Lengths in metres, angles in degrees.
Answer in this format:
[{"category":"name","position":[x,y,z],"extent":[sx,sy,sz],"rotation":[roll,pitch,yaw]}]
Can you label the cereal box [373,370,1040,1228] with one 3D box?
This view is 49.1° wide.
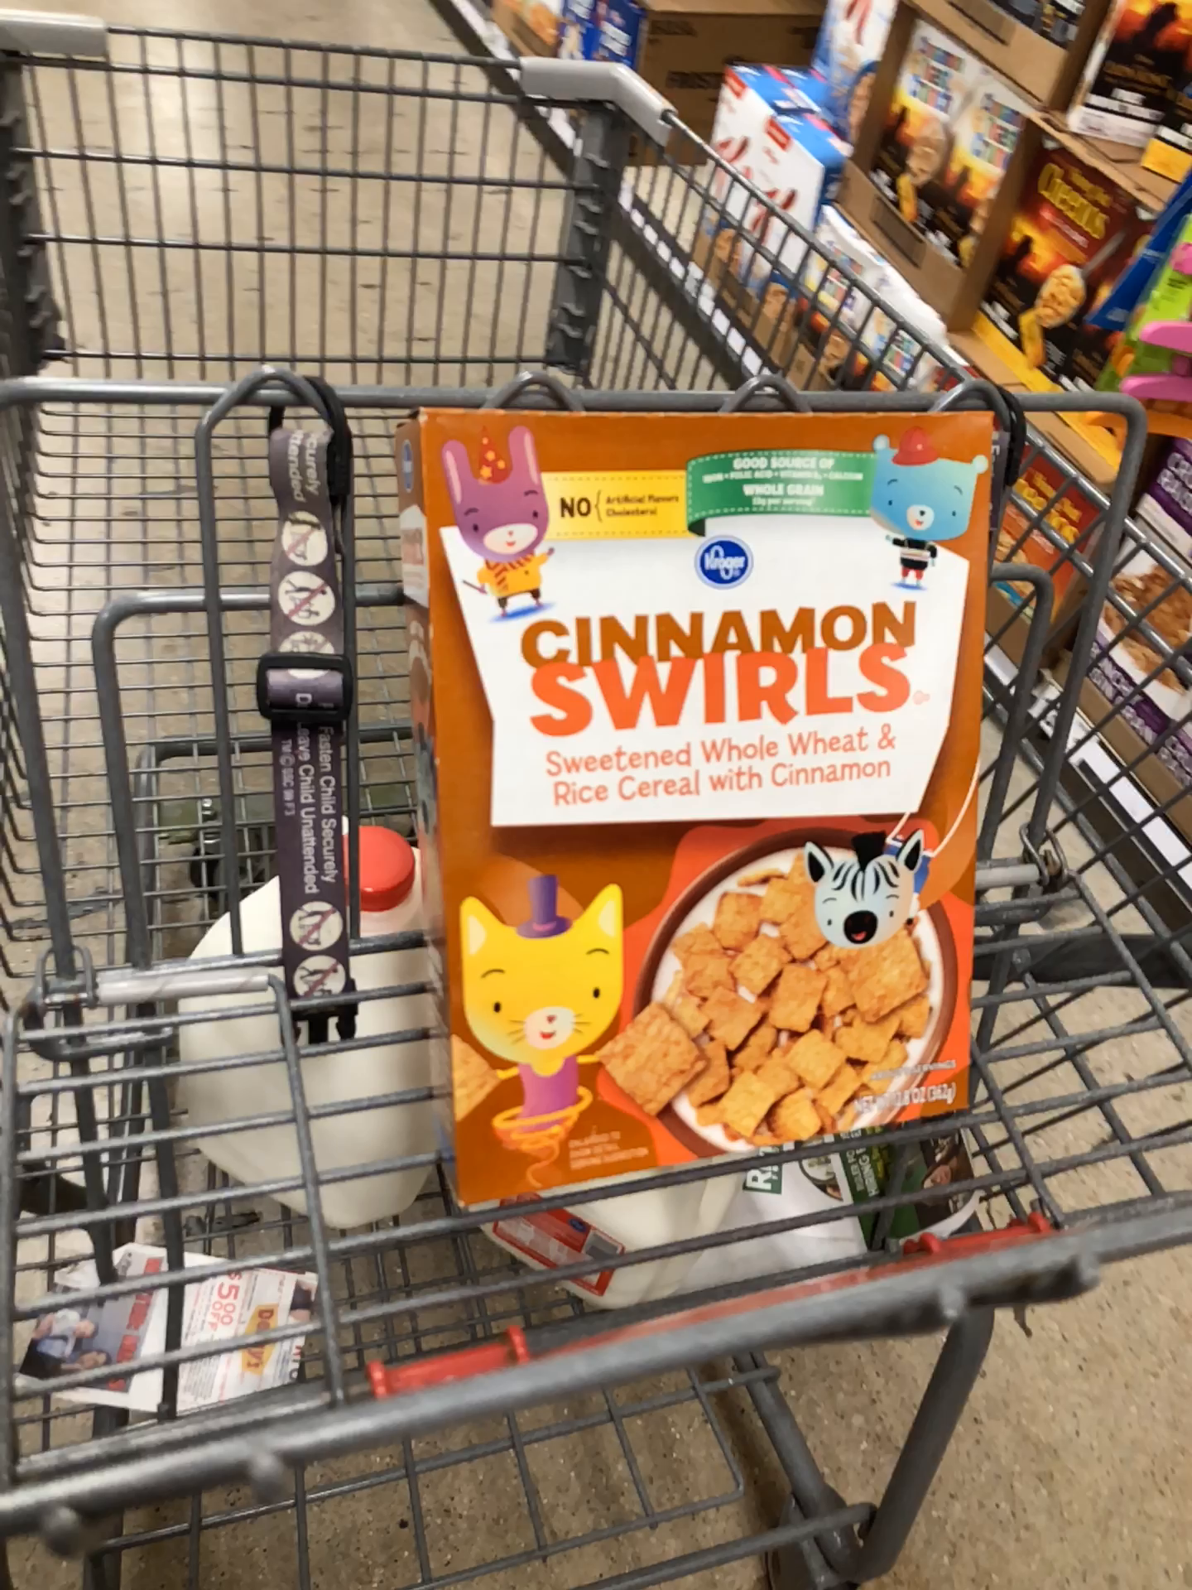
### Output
[{"category":"cereal box","position":[0.040,-0.004,0.444],"extent":[0.210,0.260,0.050],"rotation":[-5,12,-18]}]
